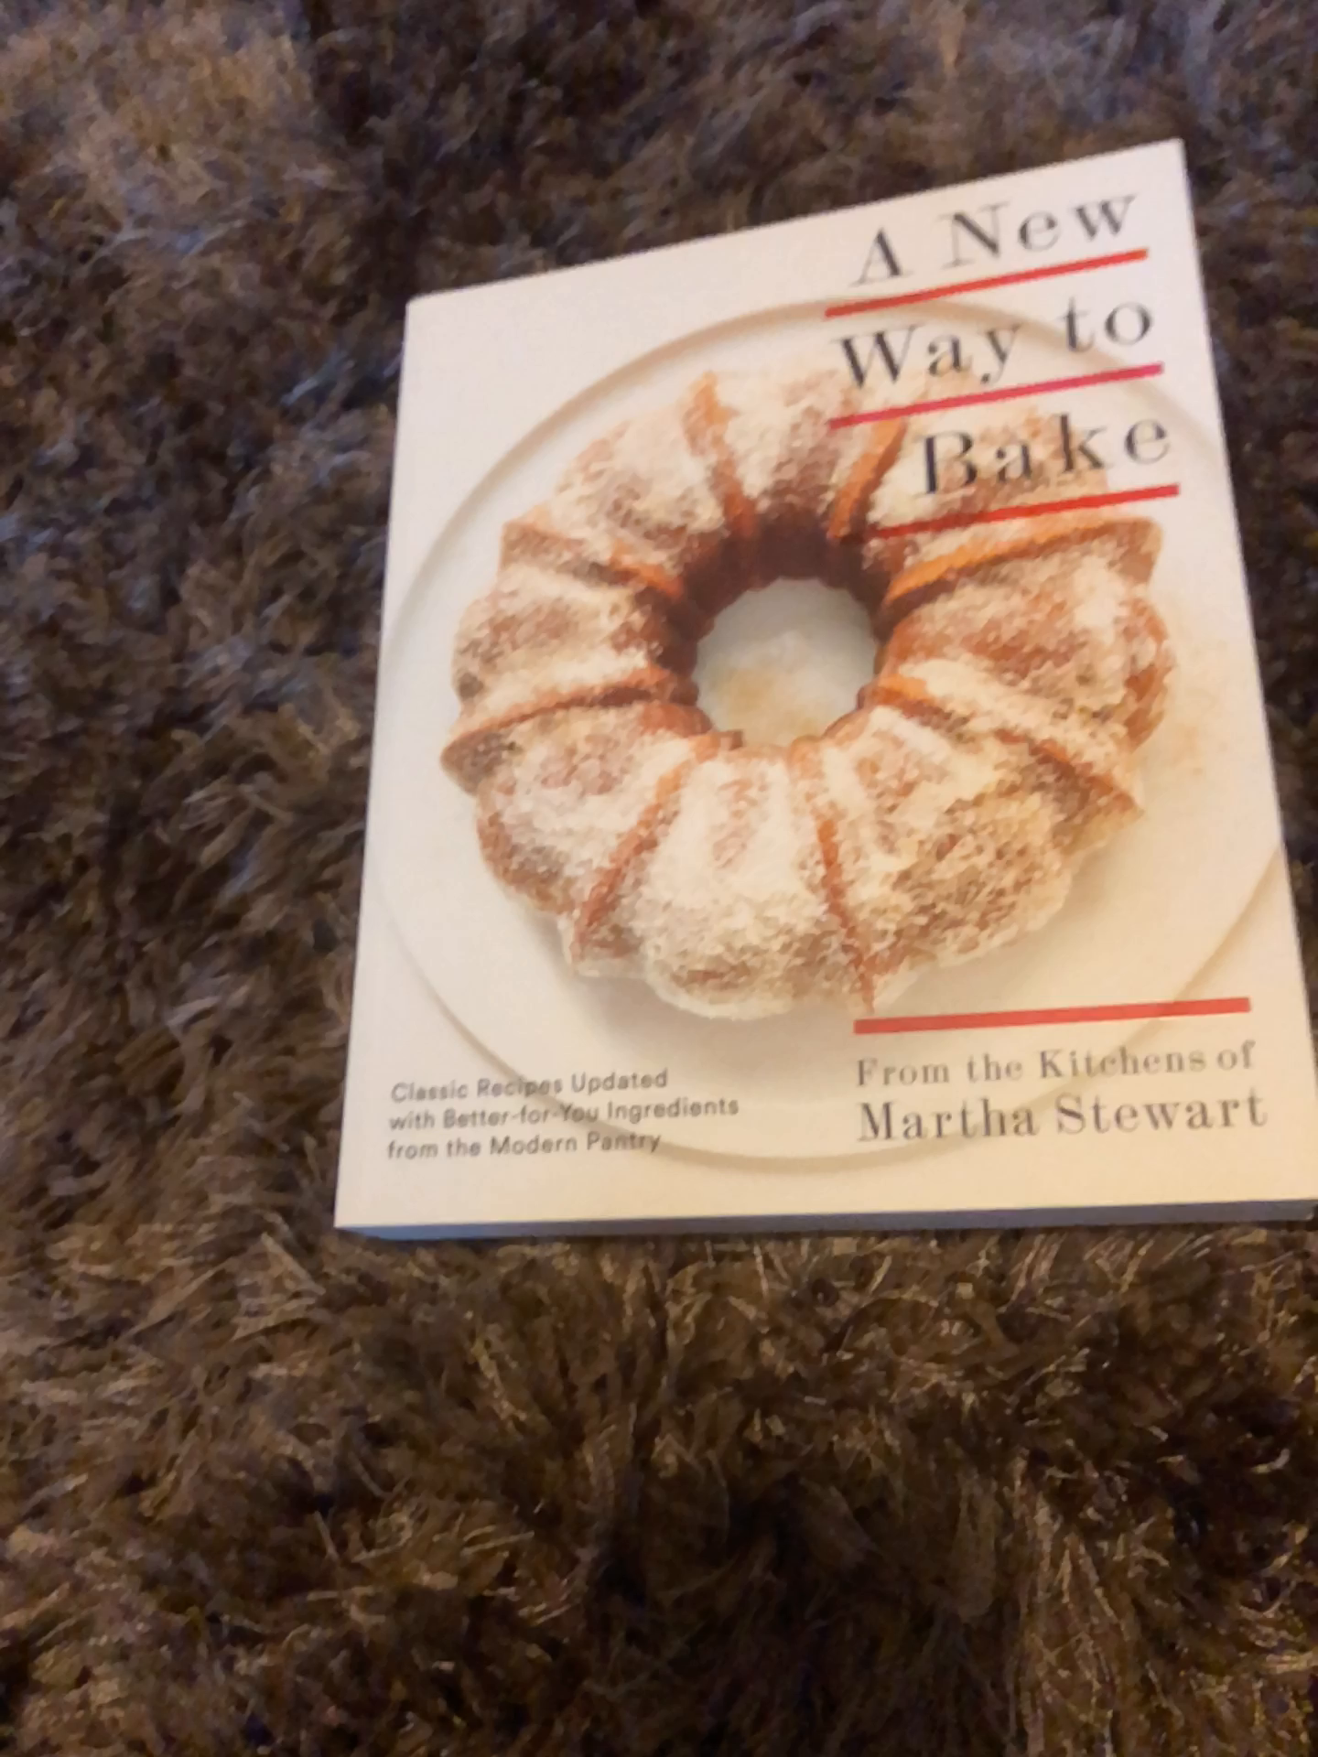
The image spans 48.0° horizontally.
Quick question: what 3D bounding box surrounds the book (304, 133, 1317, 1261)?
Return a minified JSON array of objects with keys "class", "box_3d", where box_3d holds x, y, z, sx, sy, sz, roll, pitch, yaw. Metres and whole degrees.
[{"class":"book","box_3d":[0.027,-0.038,0.325,0.192,0.040,0.229,-6,69,15]}]
